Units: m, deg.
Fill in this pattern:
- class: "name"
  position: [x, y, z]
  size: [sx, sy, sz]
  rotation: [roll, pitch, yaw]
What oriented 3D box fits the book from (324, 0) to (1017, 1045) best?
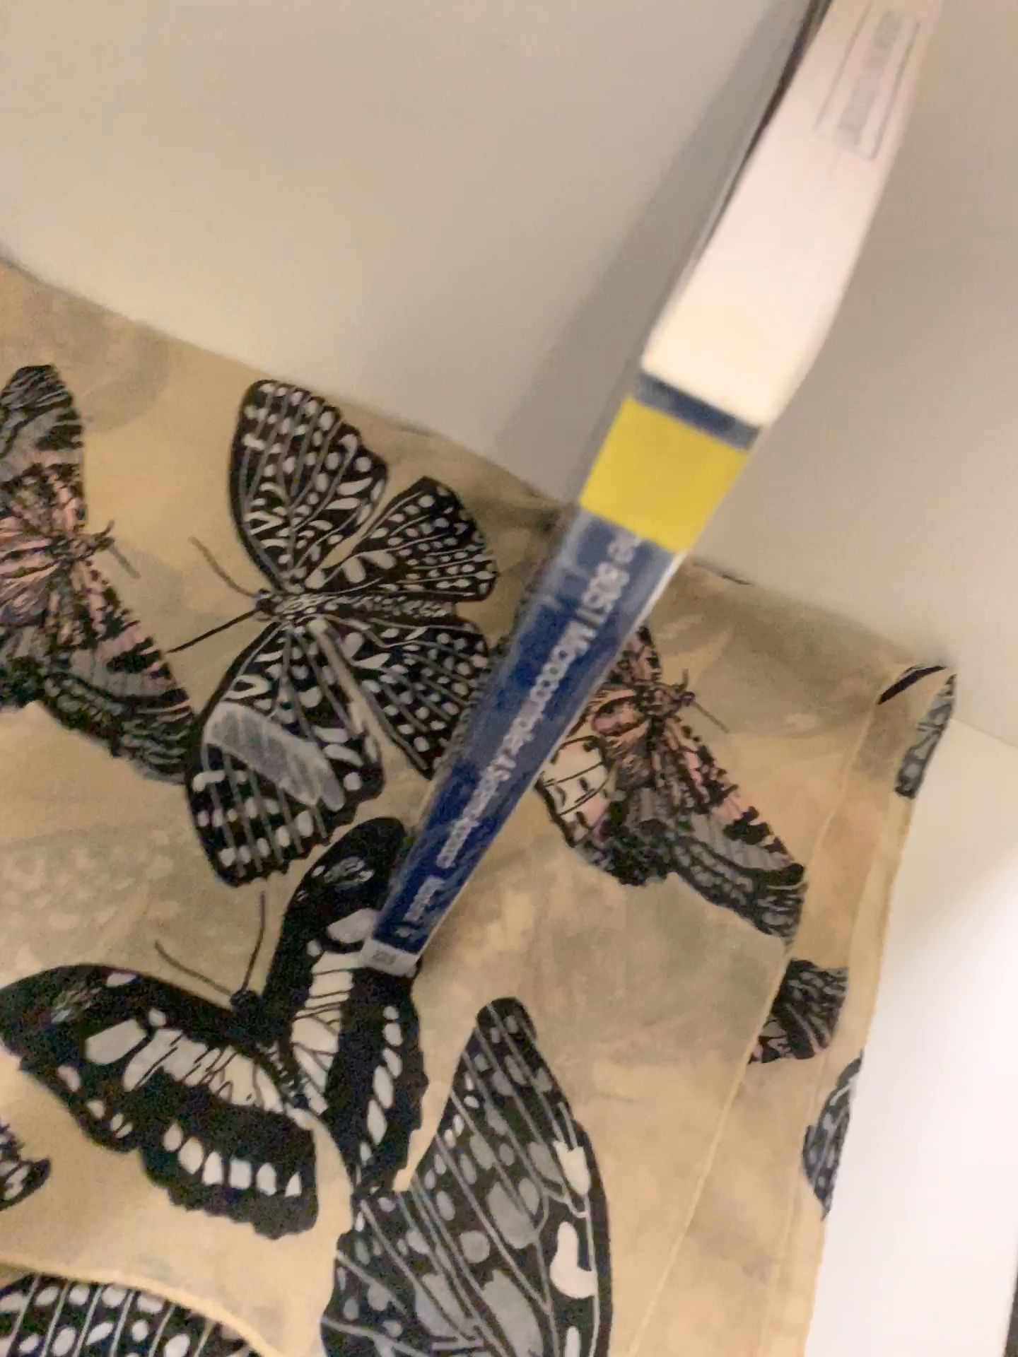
- class: "book"
  position: [0.037, -0.042, 0.281]
  size: [0.052, 0.249, 0.221]
  rotation: [26, 56, -1]
